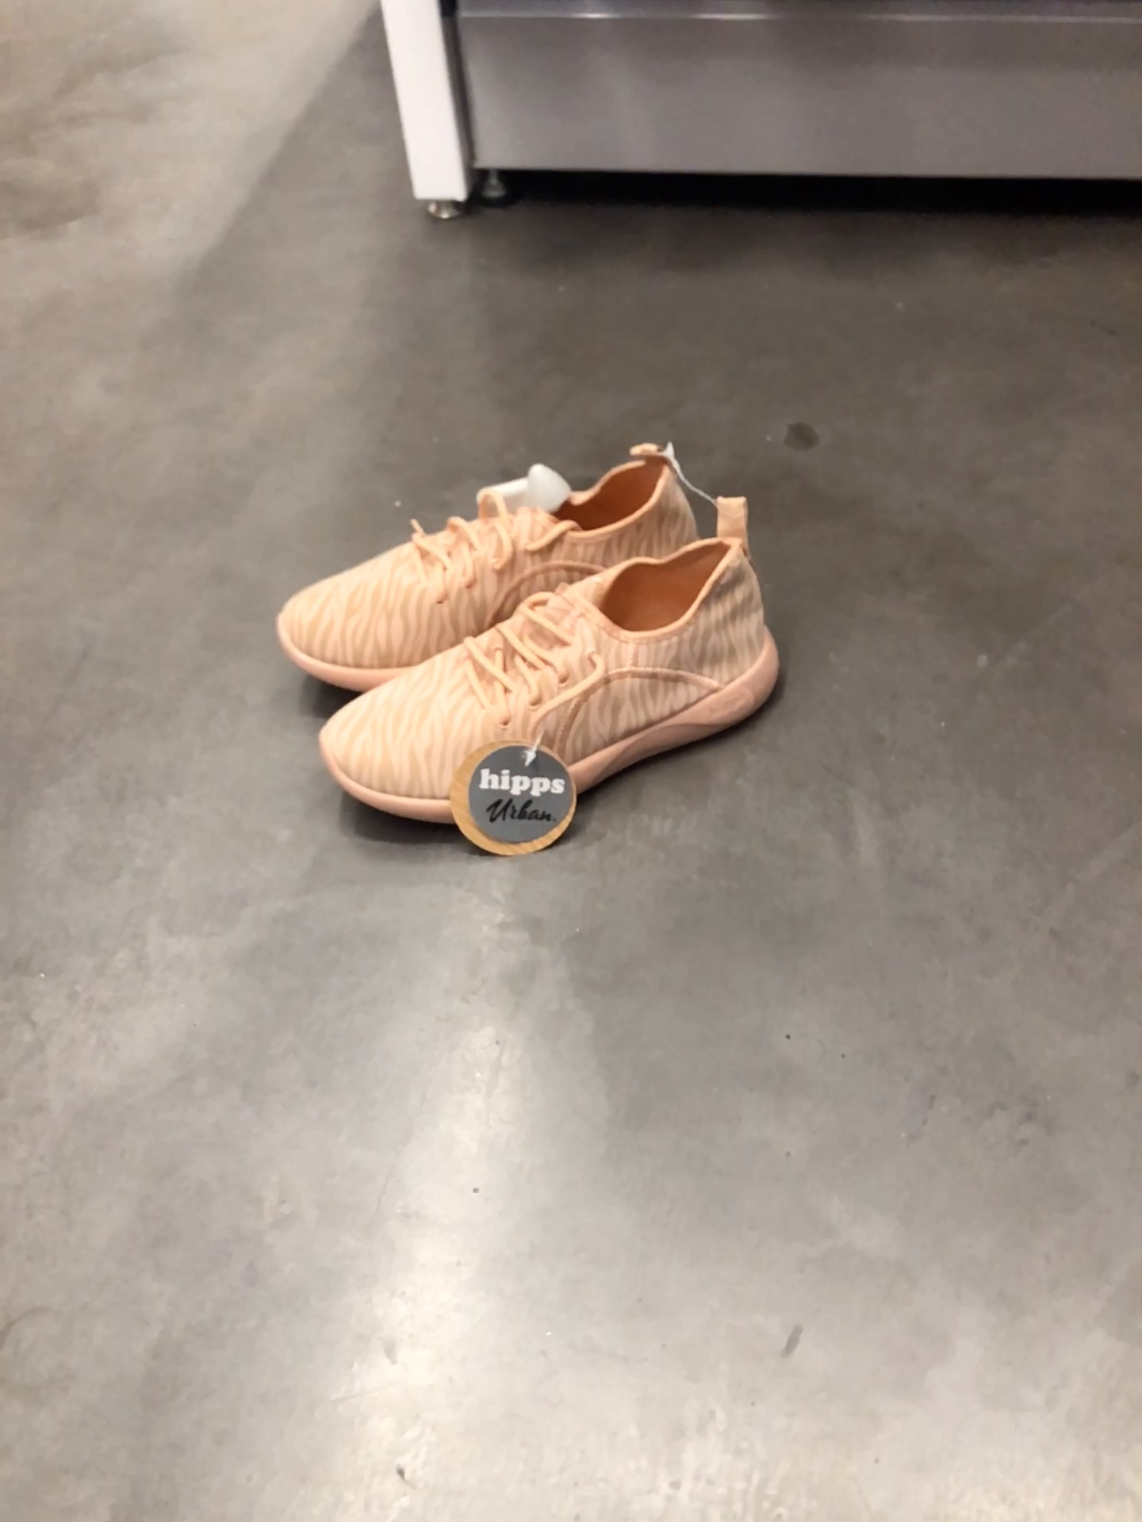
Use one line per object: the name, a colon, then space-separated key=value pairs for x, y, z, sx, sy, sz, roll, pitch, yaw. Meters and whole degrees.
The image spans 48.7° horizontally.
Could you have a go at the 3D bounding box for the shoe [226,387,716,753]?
shoe: x=-0.050 y=-0.103 z=0.672 sx=0.230 sy=0.100 sz=0.100 roll=-16 pitch=51 yaw=-8

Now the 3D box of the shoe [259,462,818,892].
shoe: x=-0.013 y=-0.043 z=0.601 sx=0.230 sy=0.100 sz=0.100 roll=-19 pitch=51 yaw=-10
